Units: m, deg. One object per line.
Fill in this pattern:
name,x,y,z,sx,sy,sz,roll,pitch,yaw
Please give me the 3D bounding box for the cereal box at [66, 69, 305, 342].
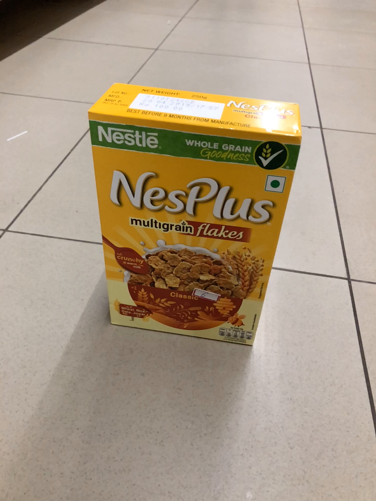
cereal box,-0.003,-0.024,0.328,0.140,0.199,0.060,7,40,5
